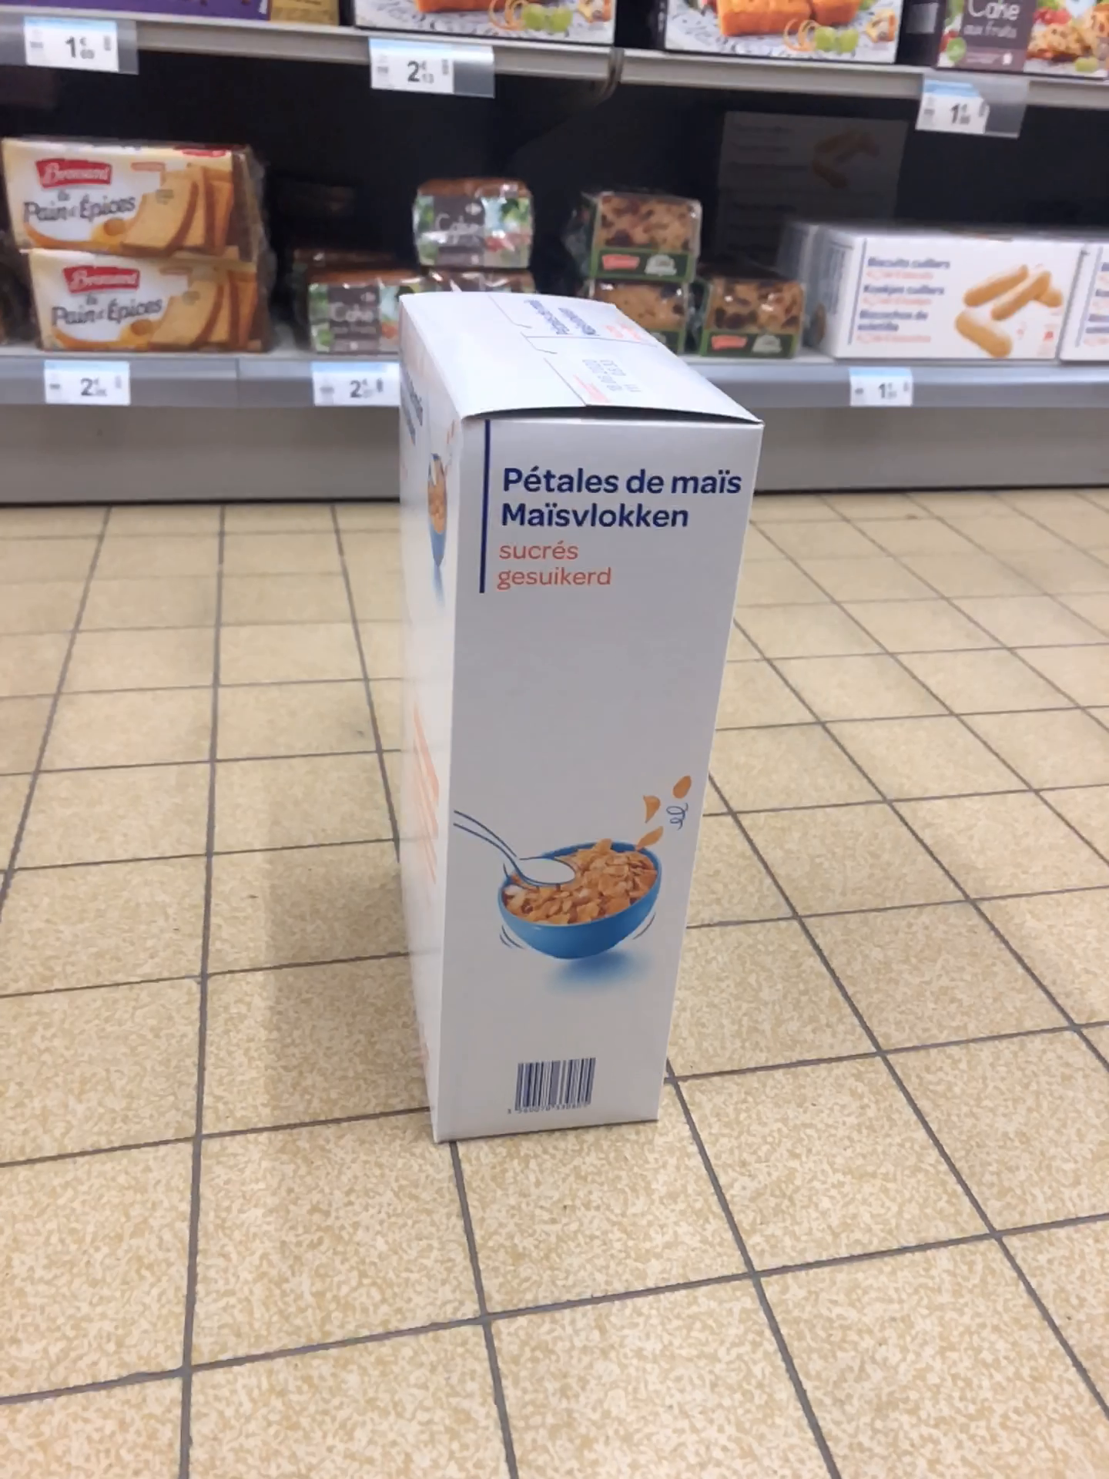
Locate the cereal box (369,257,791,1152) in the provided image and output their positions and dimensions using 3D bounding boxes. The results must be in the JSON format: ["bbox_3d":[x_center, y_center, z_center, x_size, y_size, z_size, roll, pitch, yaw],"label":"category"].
[{"bbox_3d":[-0.013,-0.022,0.499,0.110,0.298,0.201,-2,29,-11],"label":"cereal box"}]
